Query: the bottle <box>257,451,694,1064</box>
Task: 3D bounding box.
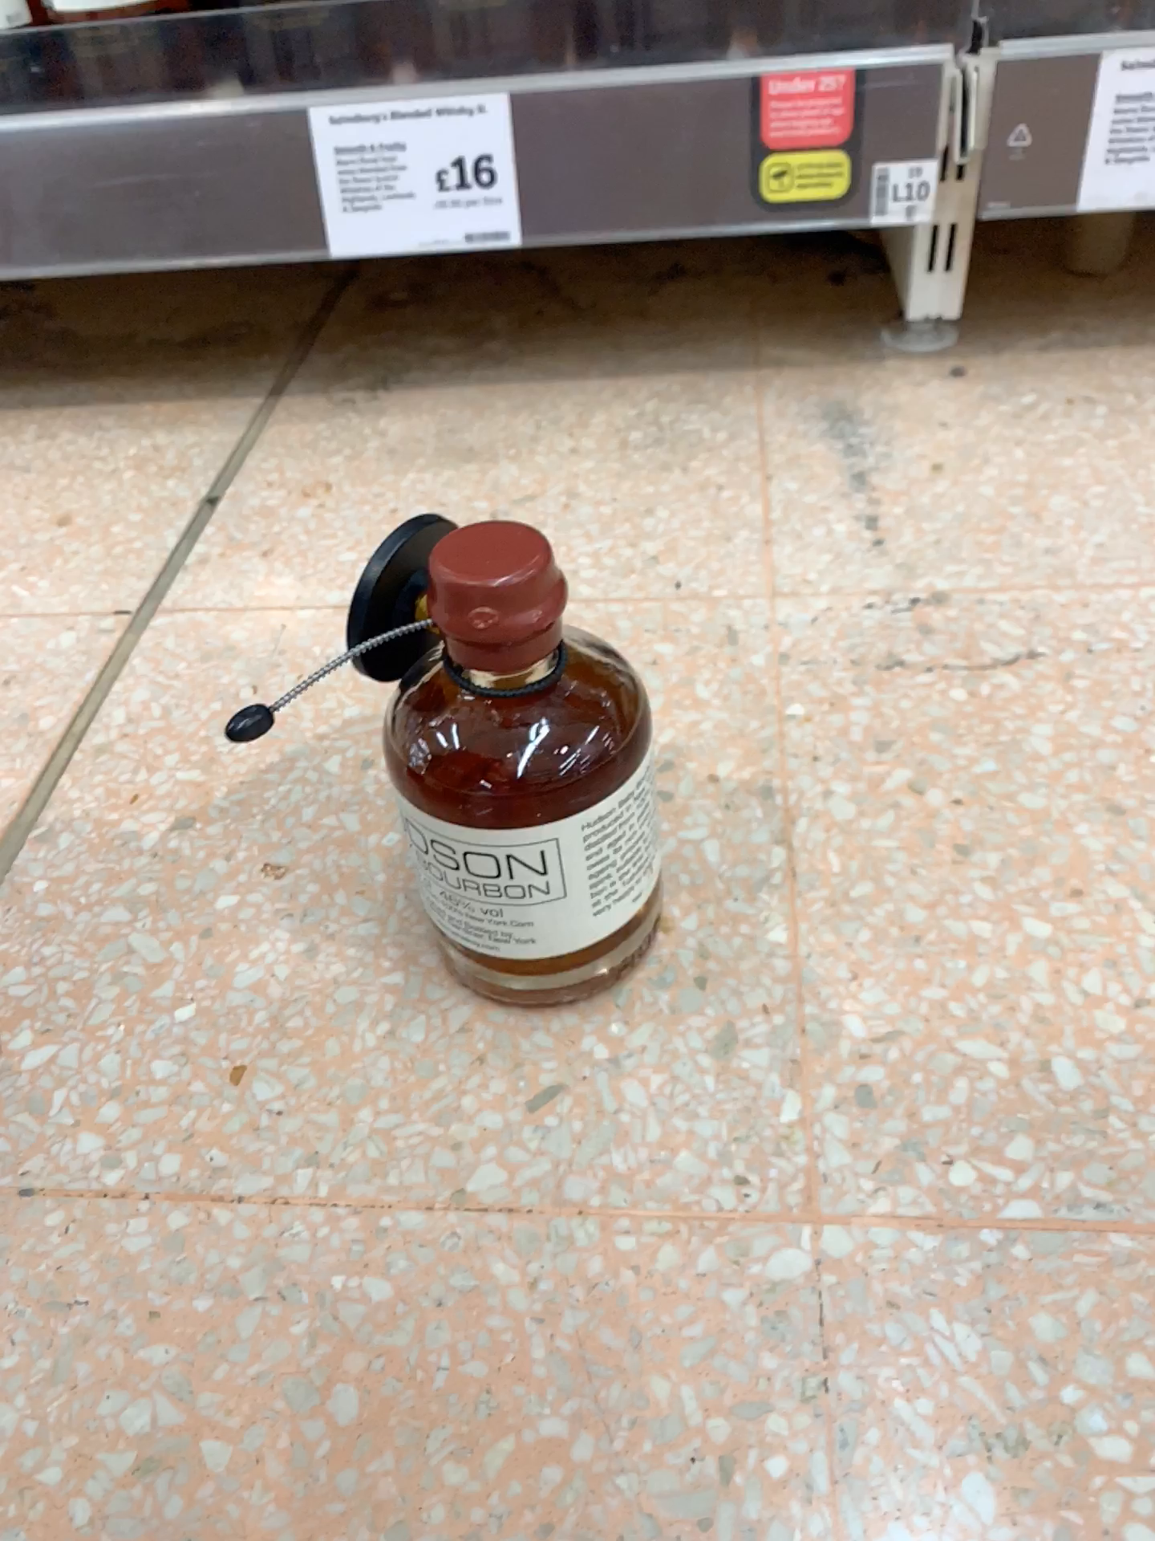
[{"bbox_3d":[-0.020,-0.002,0.340,0.076,0.141,0.073,-4,42,3],"label":"bottle"}]
